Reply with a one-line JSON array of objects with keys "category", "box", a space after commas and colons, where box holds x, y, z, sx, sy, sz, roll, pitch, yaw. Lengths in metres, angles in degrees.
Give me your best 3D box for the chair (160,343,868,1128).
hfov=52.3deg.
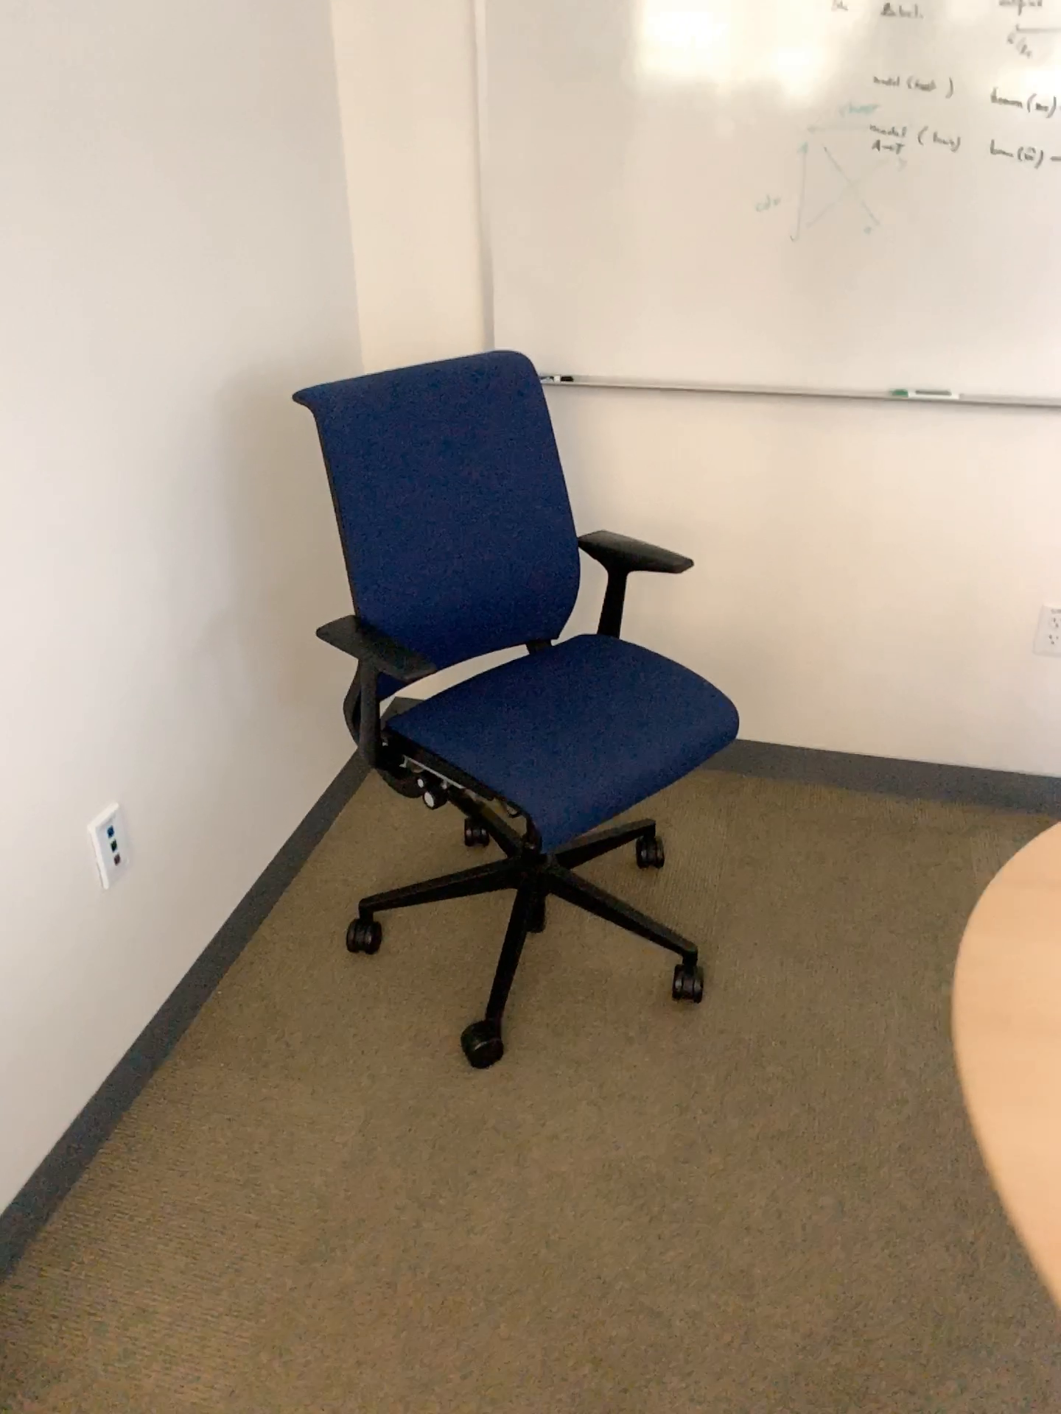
[{"category": "chair", "box": [-0.062, -0.054, 2.048, 0.741, 0.994, 0.984, -22, 35, -32]}]
